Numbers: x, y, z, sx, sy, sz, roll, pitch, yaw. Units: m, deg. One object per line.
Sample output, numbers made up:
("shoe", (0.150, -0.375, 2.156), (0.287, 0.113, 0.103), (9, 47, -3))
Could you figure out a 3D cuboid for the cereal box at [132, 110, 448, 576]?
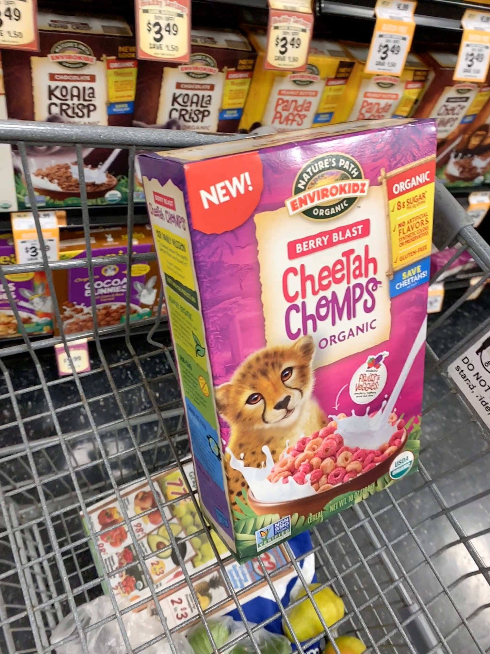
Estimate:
("cereal box", (0.039, 0.008, 0.317), (0.160, 0.249, 0.060), (-18, 27, -25))
